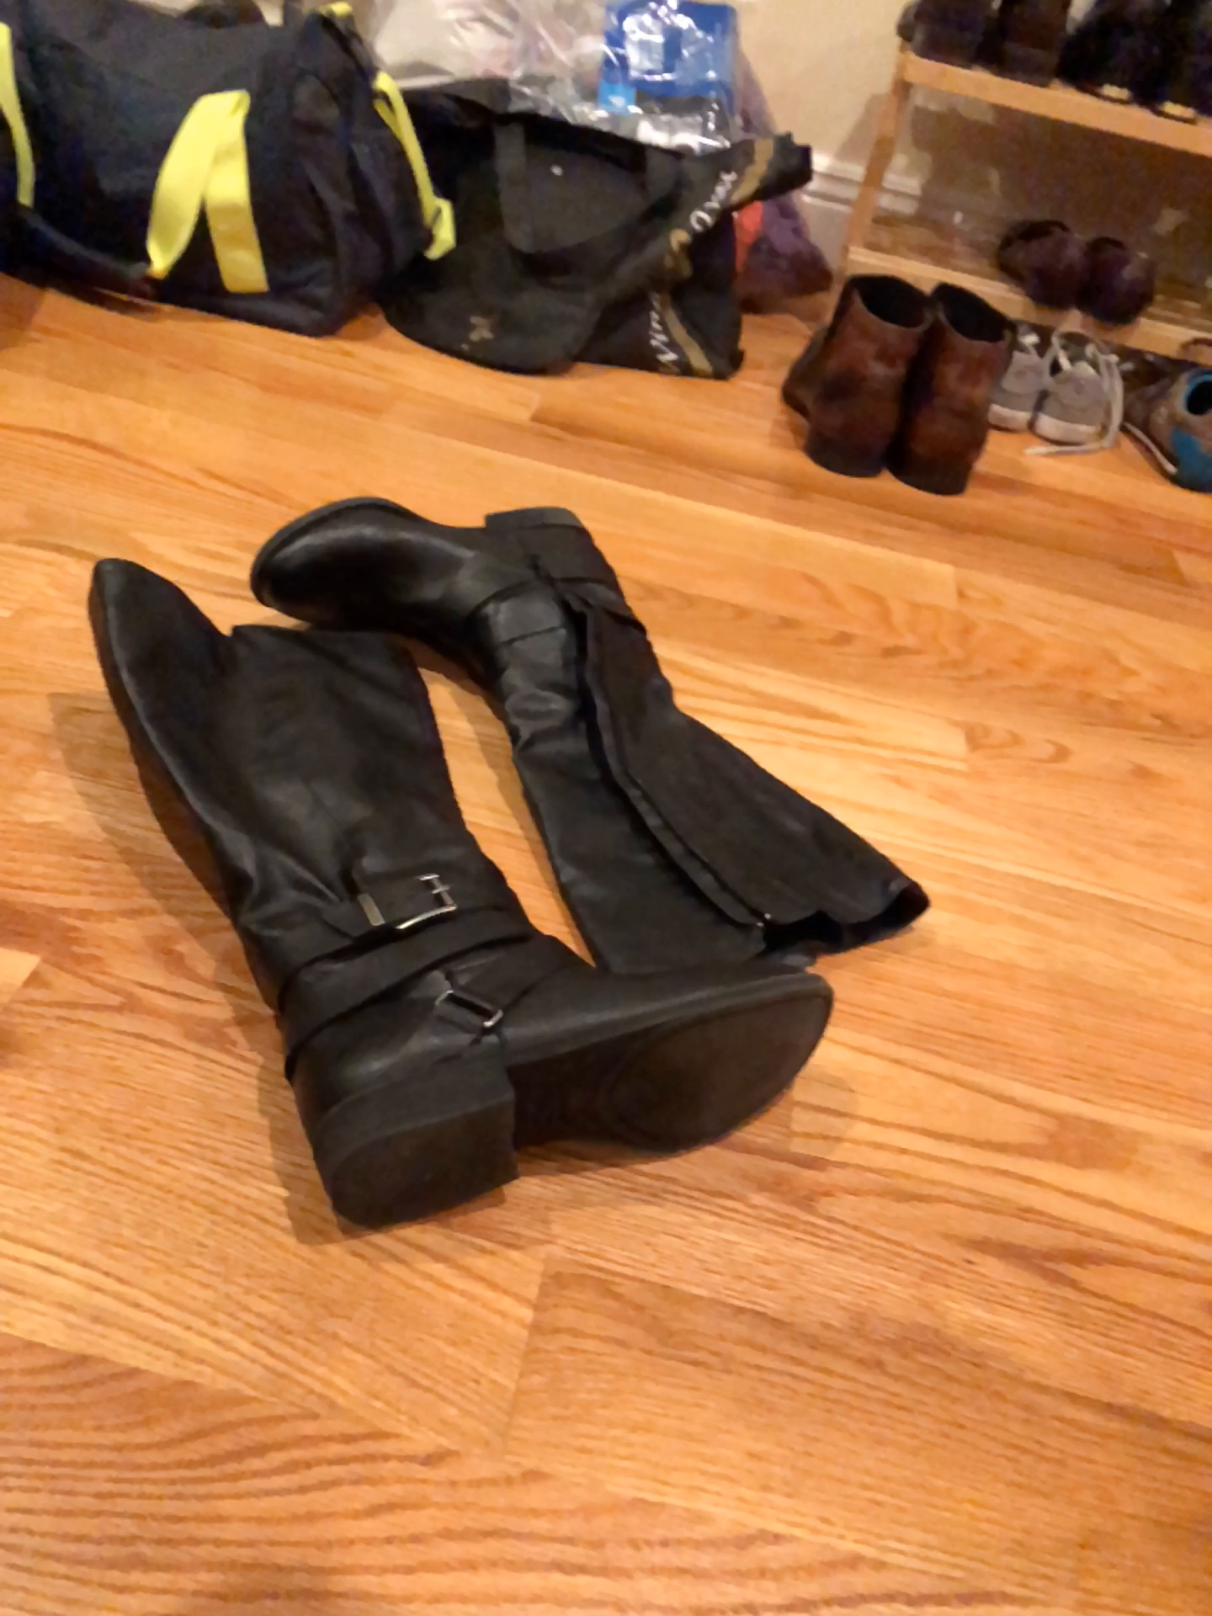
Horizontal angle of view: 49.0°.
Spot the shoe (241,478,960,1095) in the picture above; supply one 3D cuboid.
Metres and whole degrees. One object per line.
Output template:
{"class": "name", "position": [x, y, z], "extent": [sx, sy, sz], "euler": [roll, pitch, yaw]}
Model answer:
{"class": "shoe", "position": [-0.034, -0.047, 0.720], "extent": [0.251, 0.094, 0.395], "euler": [-5, 39, -24]}

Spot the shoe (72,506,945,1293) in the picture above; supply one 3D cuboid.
{"class": "shoe", "position": [-0.081, -0.005, 0.649], "extent": [0.291, 0.104, 0.405], "euler": [-6, 41, -25]}
